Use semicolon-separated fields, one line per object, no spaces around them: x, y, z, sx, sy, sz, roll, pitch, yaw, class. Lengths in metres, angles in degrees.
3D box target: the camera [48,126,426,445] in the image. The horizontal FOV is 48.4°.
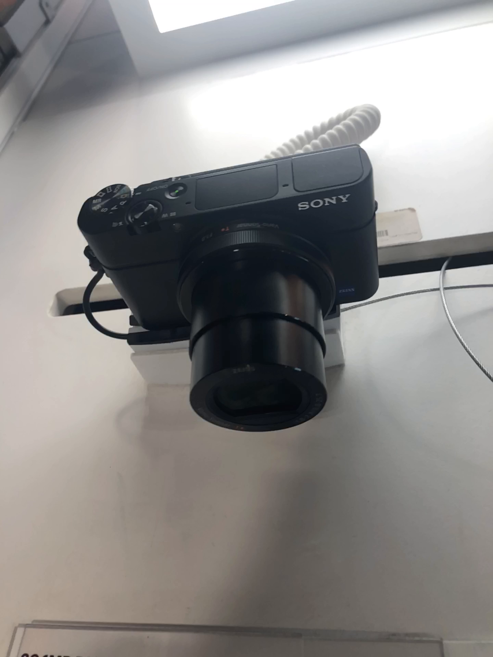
0.005;-0.010;0.196;0.105;0.074;0.070;-6;49;13;camera
